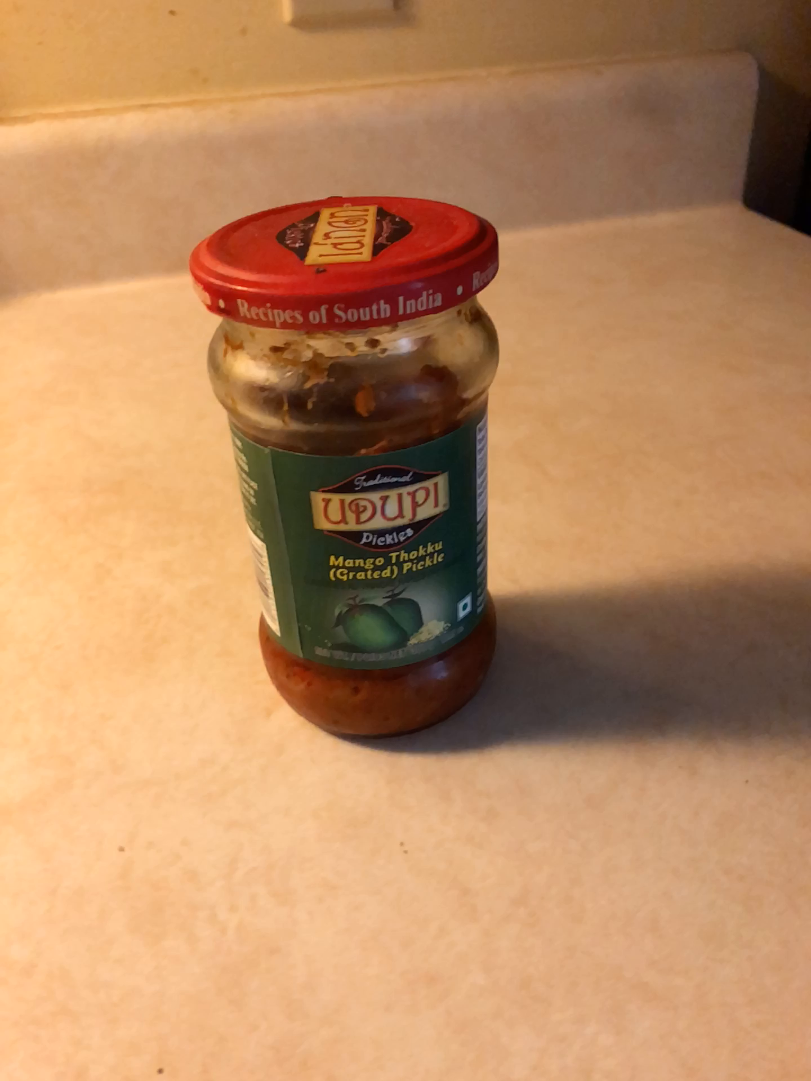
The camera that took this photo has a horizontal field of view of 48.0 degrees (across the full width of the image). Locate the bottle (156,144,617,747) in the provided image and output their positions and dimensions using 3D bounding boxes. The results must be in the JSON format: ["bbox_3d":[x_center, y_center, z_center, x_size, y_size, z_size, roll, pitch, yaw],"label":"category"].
[{"bbox_3d":[-0.001,-0.023,0.224,0.080,0.120,0.080,-3,33,2],"label":"bottle"}]
